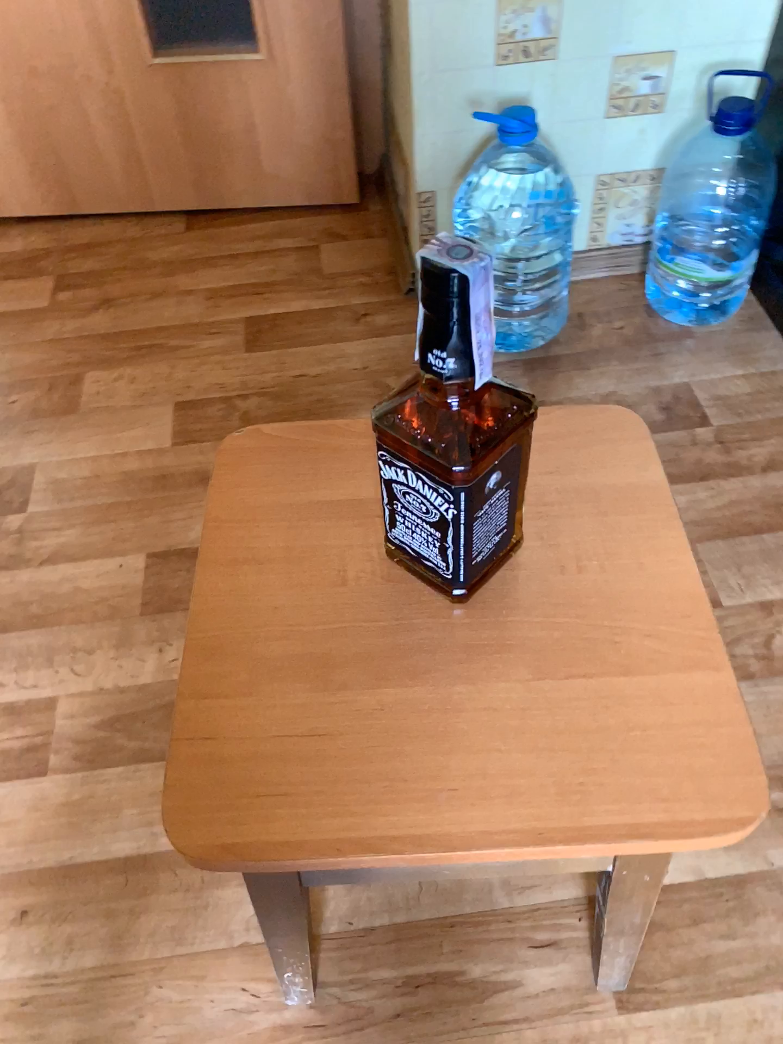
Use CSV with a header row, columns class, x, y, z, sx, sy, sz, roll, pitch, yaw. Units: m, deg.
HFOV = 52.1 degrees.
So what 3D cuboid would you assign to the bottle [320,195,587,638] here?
class,x,y,z,sx,sy,sz,roll,pitch,yaw
bottle,0.031,-0.043,0.419,0.080,0.209,0.080,-2,51,2
